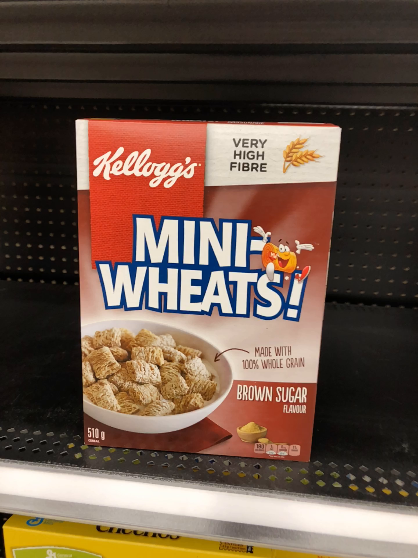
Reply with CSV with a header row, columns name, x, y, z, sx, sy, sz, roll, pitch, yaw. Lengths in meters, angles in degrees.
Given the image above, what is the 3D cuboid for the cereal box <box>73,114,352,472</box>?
name,x,y,z,sx,sy,sz,roll,pitch,yaw
cereal box,-0.002,0.013,0.391,0.200,0.279,0.060,3,13,5
